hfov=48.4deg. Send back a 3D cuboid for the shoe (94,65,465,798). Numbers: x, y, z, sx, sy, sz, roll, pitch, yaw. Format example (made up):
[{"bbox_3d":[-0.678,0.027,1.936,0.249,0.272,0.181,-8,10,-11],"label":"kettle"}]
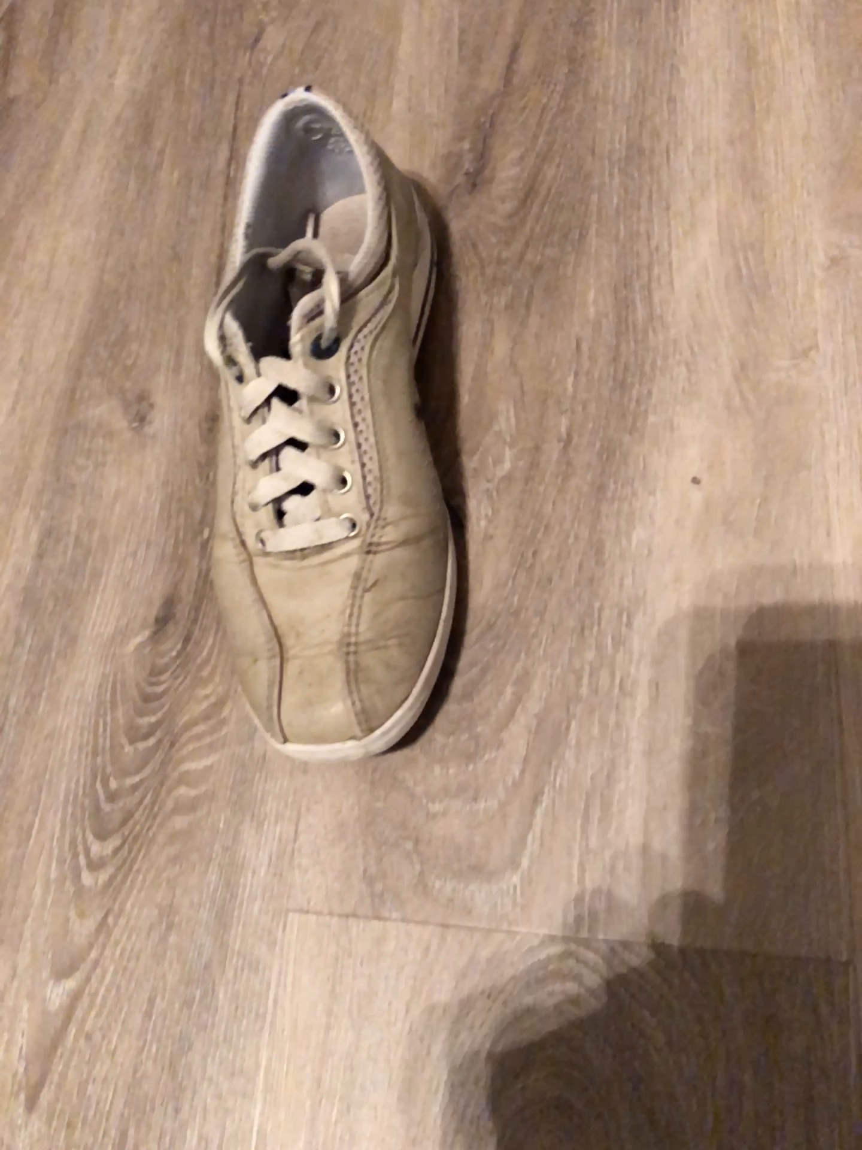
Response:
[{"bbox_3d":[-0.043,-0.052,0.348,0.090,0.070,0.250,-6,67,18],"label":"shoe"}]
